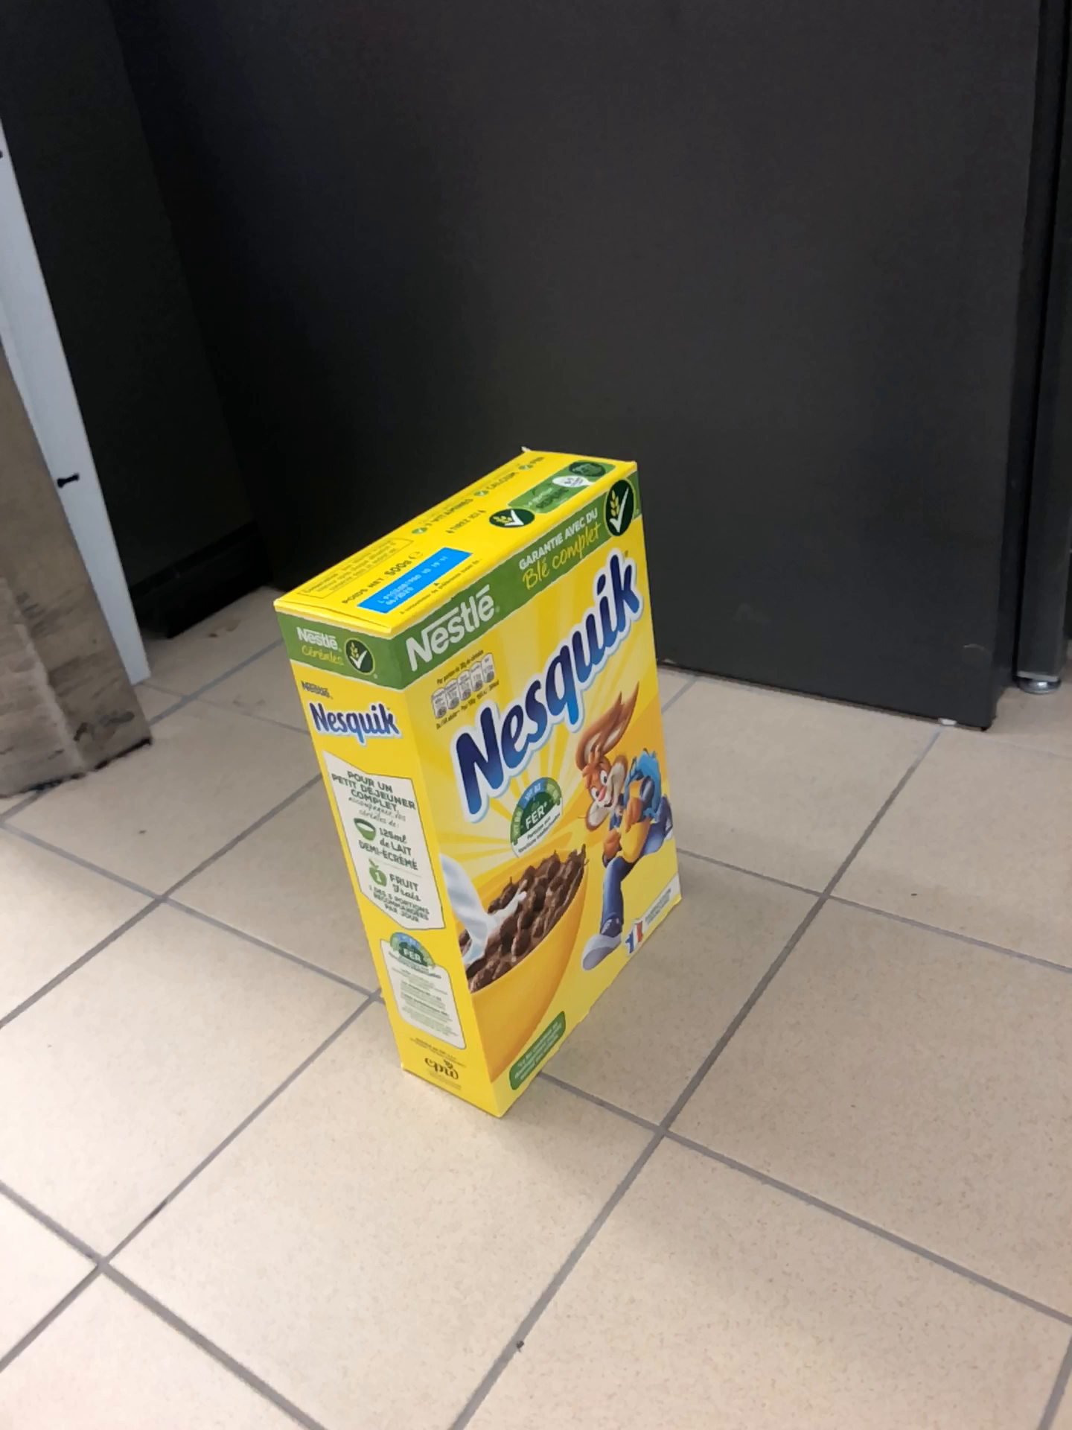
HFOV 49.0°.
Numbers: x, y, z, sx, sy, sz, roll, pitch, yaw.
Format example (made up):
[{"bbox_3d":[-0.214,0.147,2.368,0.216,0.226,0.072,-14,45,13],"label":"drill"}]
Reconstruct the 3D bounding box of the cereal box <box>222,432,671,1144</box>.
[{"bbox_3d":[-0.023,0.036,0.608,0.070,0.298,0.201,15,39,34],"label":"cereal box"}]
